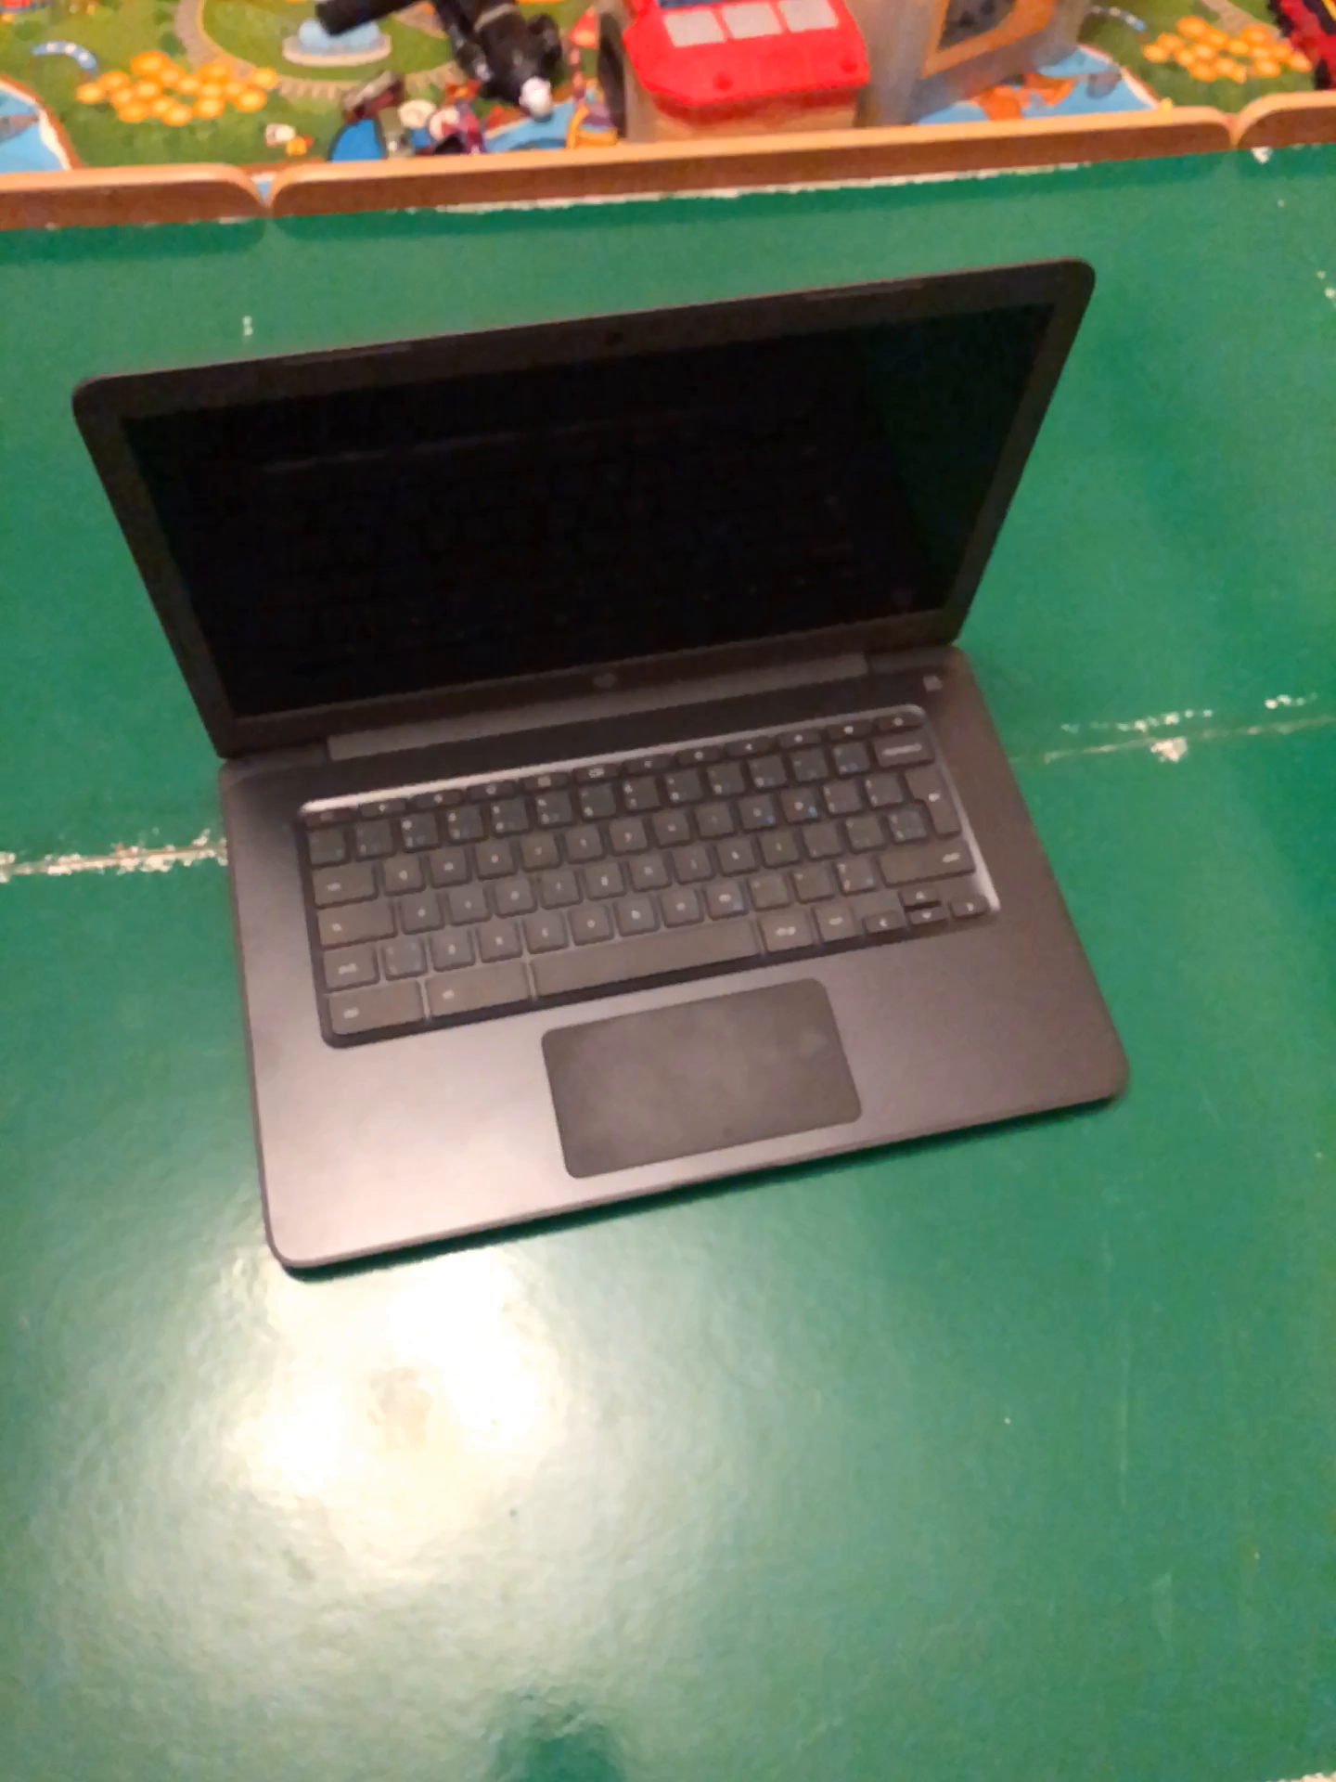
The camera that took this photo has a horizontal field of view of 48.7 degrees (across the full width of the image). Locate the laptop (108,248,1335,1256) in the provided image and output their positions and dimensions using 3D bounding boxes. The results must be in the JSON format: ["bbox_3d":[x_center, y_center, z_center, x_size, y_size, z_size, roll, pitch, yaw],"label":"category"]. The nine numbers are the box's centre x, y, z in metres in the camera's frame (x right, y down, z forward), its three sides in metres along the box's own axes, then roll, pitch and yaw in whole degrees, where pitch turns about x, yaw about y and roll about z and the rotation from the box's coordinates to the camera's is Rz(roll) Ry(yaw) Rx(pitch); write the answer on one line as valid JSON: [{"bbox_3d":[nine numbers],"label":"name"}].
[{"bbox_3d":[0.004,-0.041,0.508,0.317,0.204,0.211,-11,63,-8],"label":"laptop"}]
